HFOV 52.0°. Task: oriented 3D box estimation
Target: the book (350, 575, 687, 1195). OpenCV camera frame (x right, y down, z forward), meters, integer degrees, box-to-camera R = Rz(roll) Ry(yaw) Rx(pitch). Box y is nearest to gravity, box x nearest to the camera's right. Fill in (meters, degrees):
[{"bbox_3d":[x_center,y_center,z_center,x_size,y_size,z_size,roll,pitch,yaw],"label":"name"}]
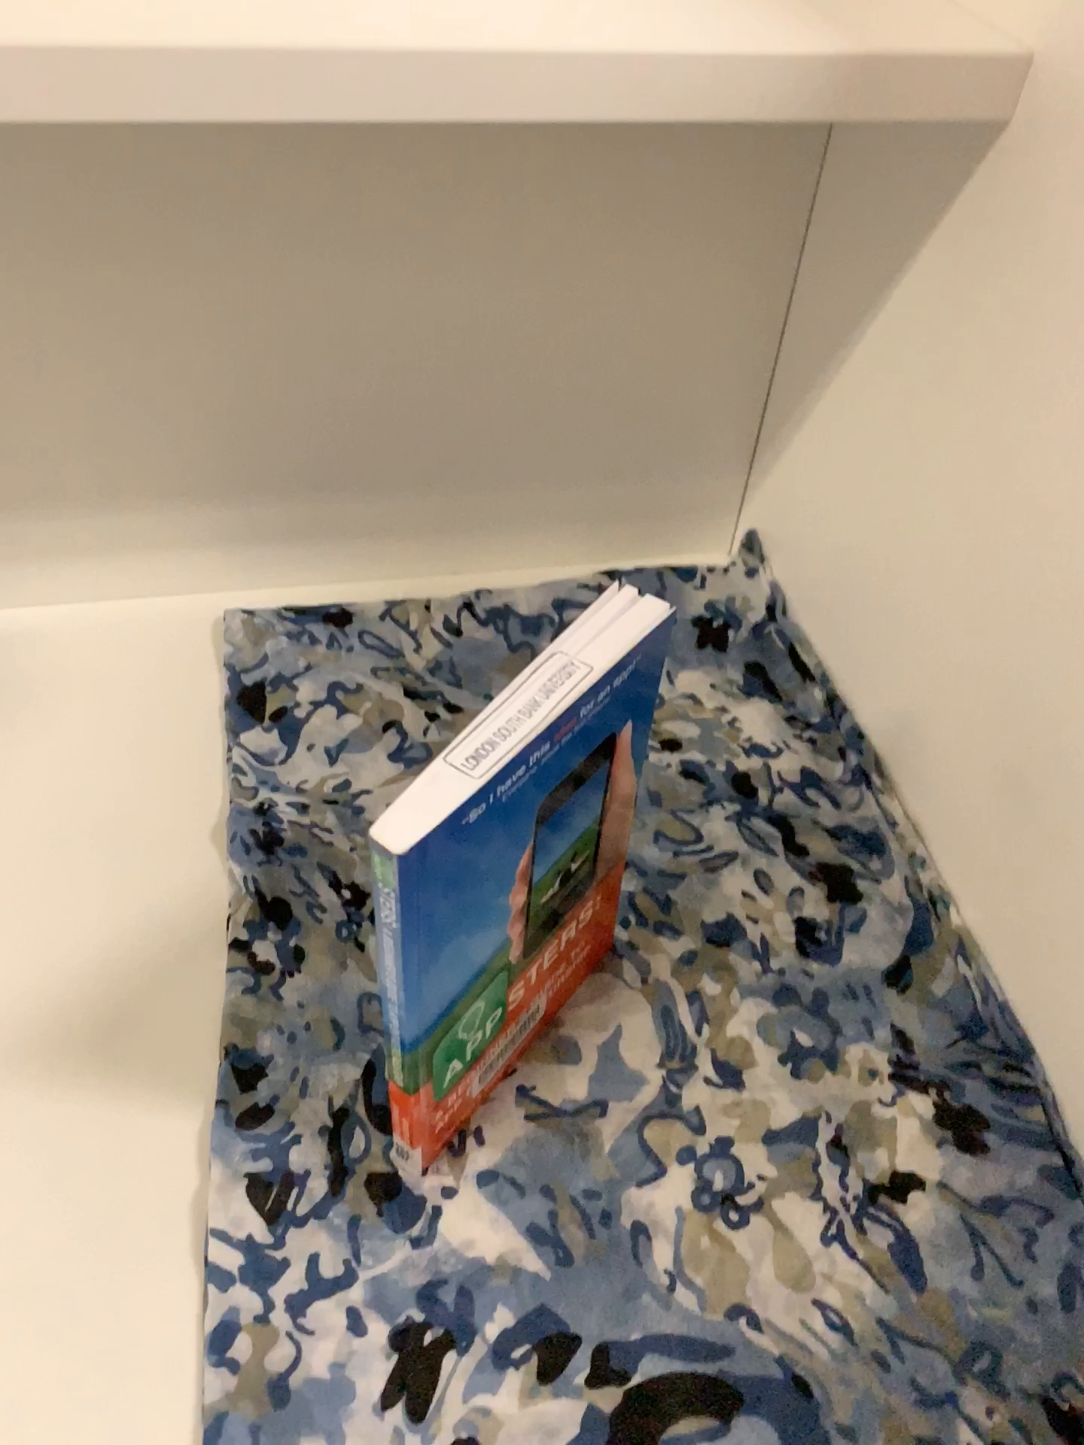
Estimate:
[{"bbox_3d":[-0.007,0.066,0.404,0.024,0.203,0.141,28,49,22],"label":"book"}]
